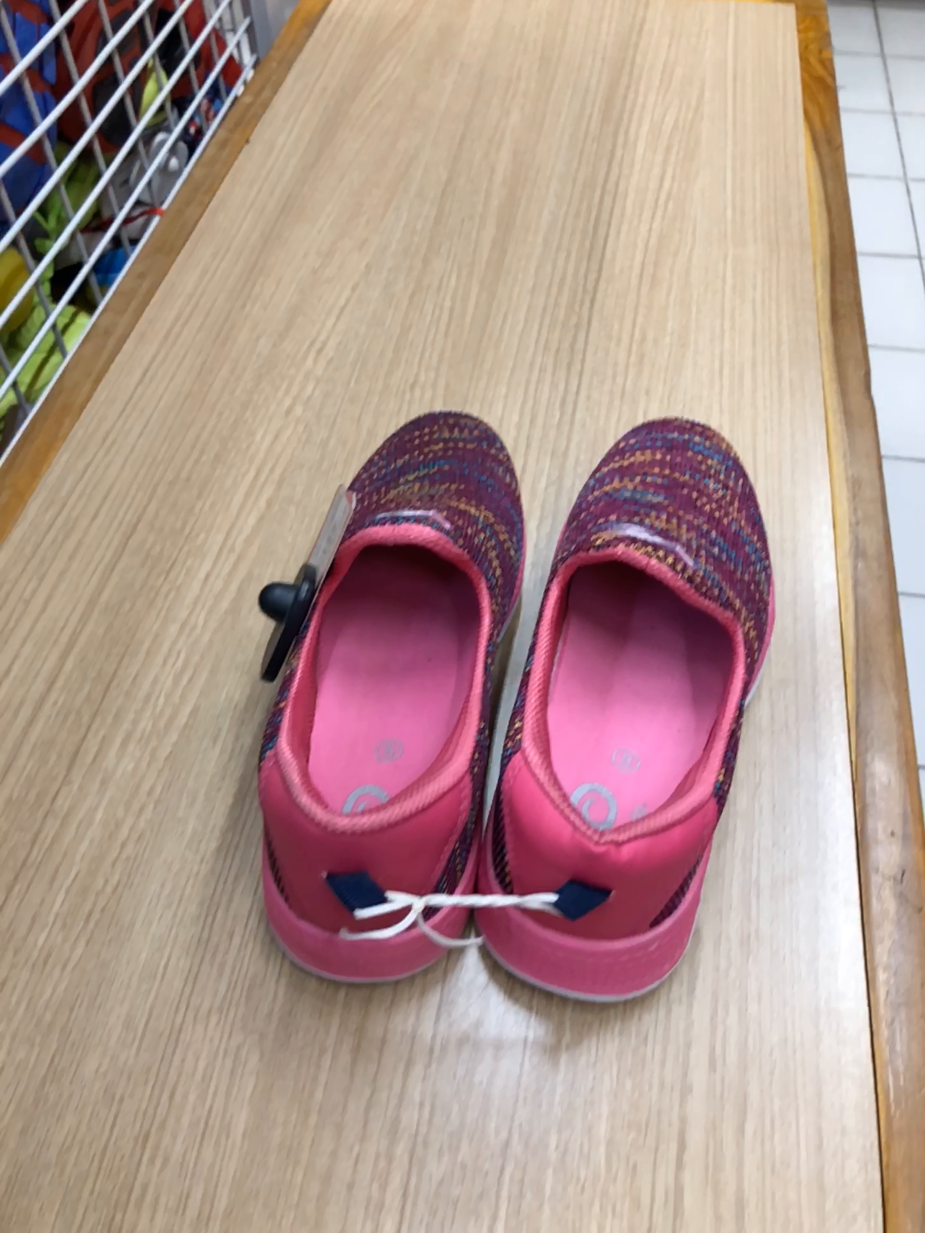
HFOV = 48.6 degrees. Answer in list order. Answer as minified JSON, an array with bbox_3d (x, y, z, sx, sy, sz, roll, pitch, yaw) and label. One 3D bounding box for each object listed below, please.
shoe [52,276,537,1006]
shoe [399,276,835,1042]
[{"bbox_3d":[-0.036,-0.005,0.372,0.105,0.103,0.245,5,52,6],"label":"shoe"},{"bbox_3d":[0.064,0.000,0.364,0.105,0.103,0.245,9,53,9],"label":"shoe"}]
